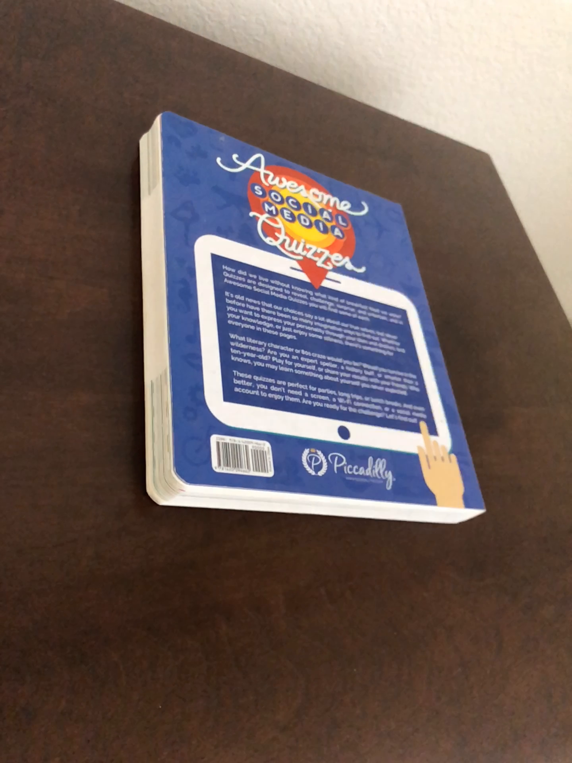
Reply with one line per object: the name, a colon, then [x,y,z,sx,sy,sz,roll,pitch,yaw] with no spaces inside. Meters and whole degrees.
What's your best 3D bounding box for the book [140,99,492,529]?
book: [0.011,-0.032,0.325,0.166,0.030,0.201,11,57,-32]
